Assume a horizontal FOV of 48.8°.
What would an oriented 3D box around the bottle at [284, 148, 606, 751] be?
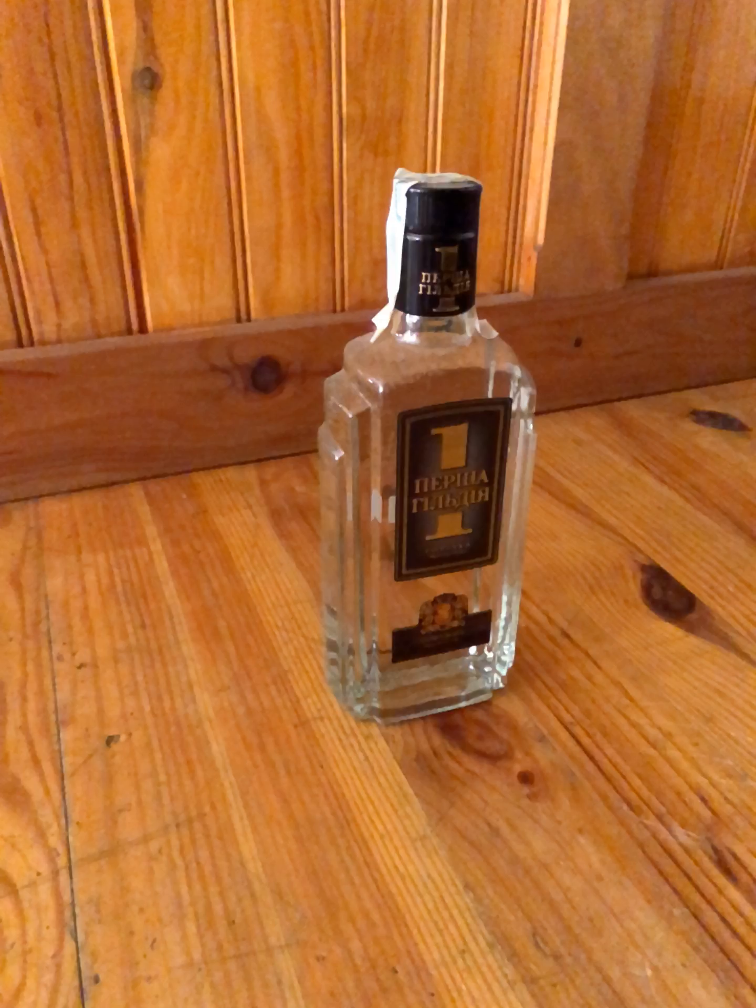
[{"bbox_3d":[0.020,-0.014,0.360,0.100,0.249,0.060,-8,32,-14],"label":"bottle"}]
